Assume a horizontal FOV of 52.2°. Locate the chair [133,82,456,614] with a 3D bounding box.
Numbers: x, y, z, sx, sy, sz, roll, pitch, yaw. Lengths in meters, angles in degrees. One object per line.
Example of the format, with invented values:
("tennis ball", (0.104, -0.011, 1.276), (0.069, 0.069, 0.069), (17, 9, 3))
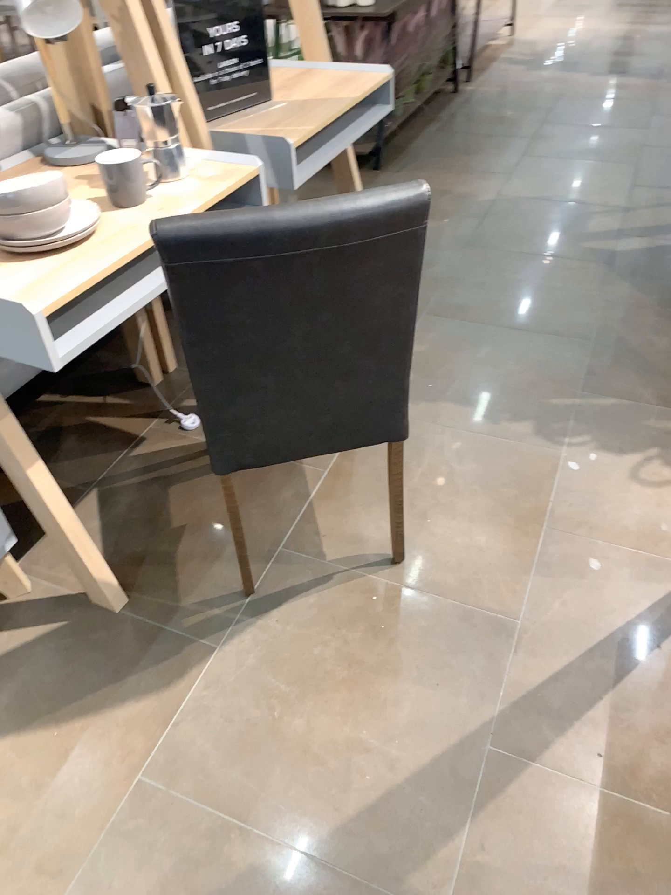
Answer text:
("chair", (-0.094, -0.205, 1.478), (0.457, 0.887, 0.610), (-11, 41, -9))
